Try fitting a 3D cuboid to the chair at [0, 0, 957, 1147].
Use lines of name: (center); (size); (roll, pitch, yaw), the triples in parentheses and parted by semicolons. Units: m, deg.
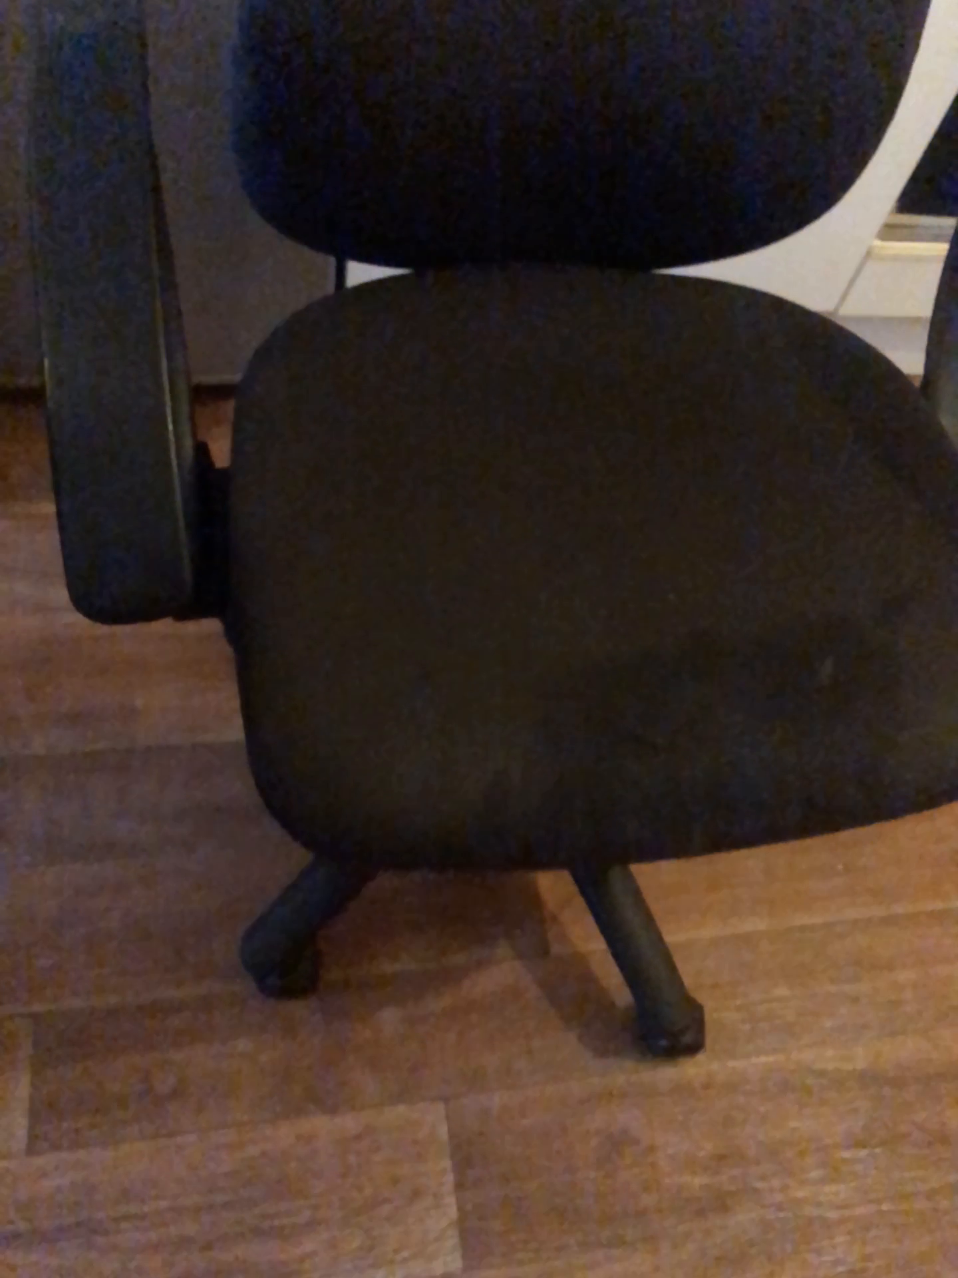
chair: (0.102, -0.120, 0.692); (0.637, 0.883, 0.645); (-4, 60, -13)
